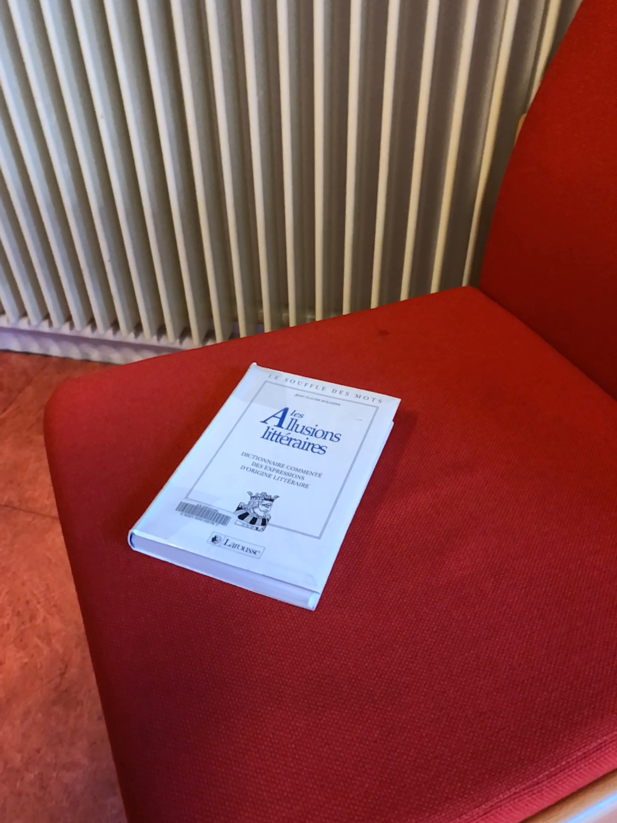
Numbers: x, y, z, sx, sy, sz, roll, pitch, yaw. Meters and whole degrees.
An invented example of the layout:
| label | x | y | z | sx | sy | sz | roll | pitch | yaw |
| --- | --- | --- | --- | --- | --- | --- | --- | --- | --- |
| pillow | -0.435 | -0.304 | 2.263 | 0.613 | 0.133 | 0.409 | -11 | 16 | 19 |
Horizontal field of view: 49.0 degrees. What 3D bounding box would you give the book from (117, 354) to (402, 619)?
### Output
| label | x | y | z | sx | sy | sz | roll | pitch | yaw |
| --- | --- | --- | --- | --- | --- | --- | --- | --- | --- |
| book | -0.027 | 0.043 | 0.545 | 0.150 | 0.030 | 0.218 | 14 | 44 | 16 |
